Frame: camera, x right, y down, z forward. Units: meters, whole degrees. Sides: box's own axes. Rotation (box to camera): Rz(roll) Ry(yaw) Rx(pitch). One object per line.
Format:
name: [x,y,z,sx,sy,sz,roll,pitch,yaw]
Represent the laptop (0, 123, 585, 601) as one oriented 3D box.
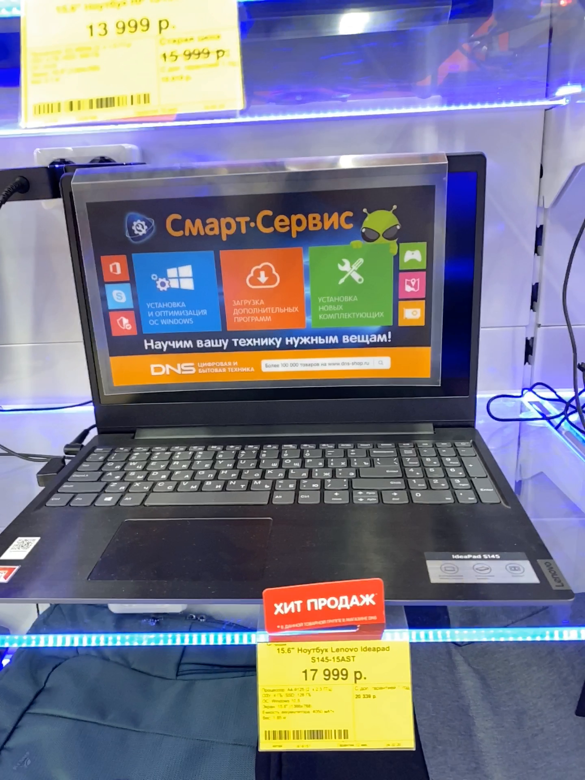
laptop: [-0.024,-0.036,0.426,0.361,0.239,0.258,-1,18,4]
